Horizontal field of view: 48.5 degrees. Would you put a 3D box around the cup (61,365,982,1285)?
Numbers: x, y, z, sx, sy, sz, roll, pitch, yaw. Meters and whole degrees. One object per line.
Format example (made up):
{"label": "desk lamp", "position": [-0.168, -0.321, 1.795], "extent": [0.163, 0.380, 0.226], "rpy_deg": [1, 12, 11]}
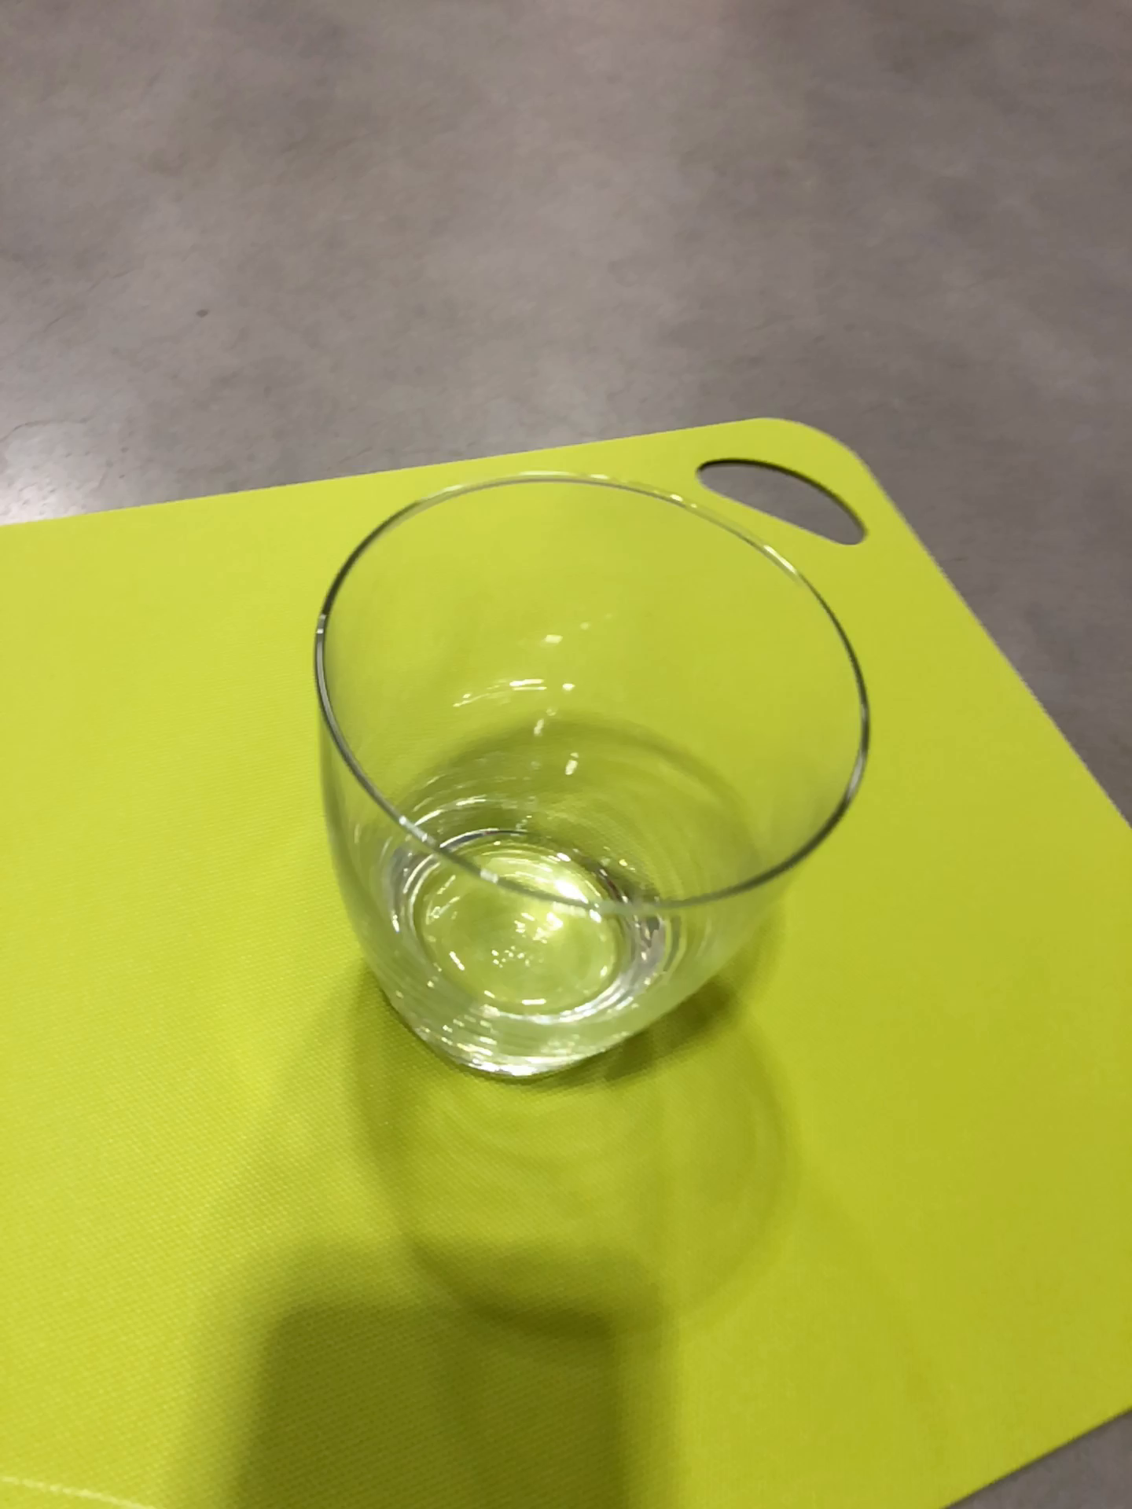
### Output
{"label": "cup", "position": [-0.010, 0.010, 0.245], "extent": [0.110, 0.090, 0.110], "rpy_deg": [6, 53, -8]}
